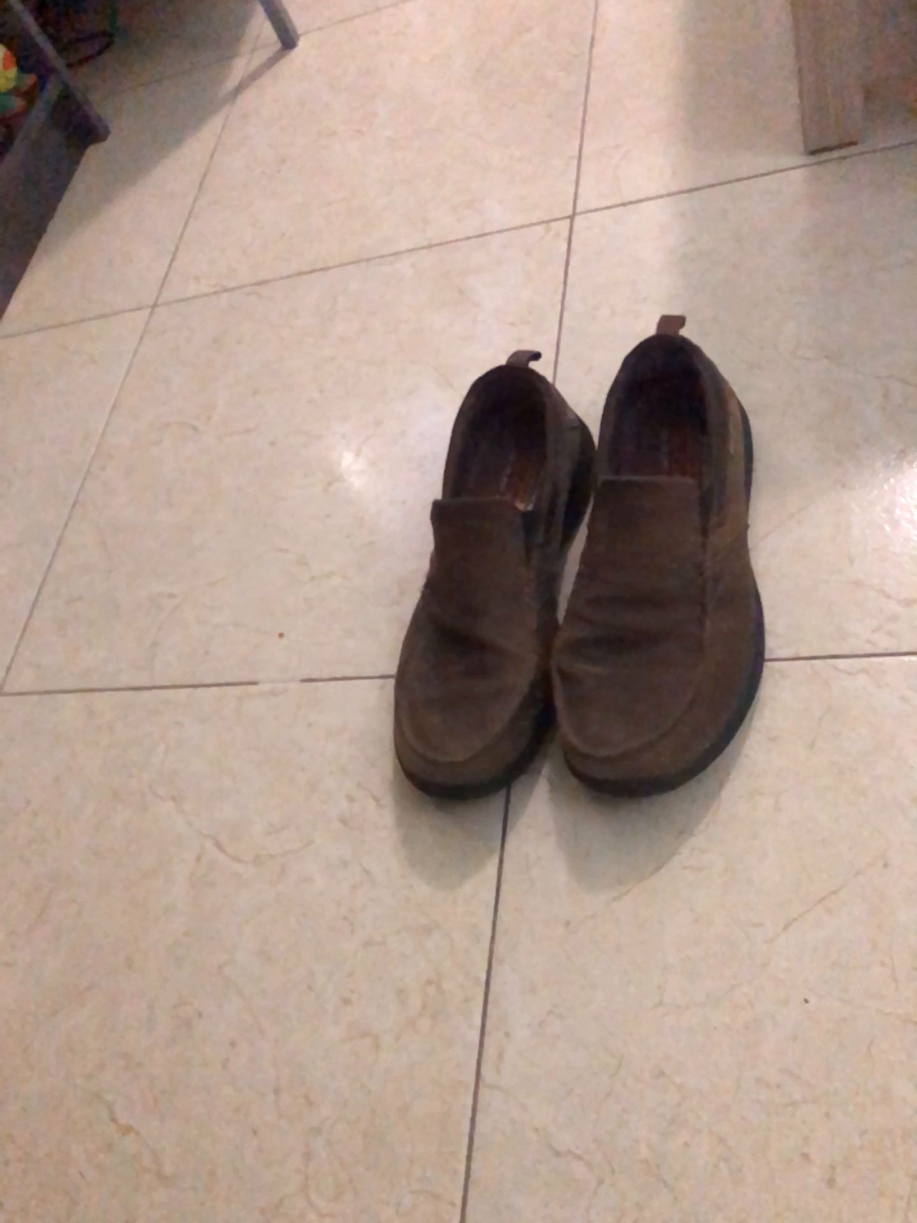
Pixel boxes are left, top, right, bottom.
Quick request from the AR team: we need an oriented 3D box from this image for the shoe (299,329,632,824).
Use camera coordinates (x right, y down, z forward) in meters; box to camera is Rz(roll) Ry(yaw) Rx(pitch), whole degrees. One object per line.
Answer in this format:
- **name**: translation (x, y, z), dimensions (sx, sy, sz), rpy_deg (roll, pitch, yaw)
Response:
- **shoe**: translation (0.018, -0.031, 0.655), dimensions (0.120, 0.100, 0.300), rpy_deg (2, 60, 25)

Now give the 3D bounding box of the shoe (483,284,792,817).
- **shoe**: translation (0.120, -0.043, 0.608), dimensions (0.130, 0.100, 0.300), rpy_deg (0, 59, 24)
